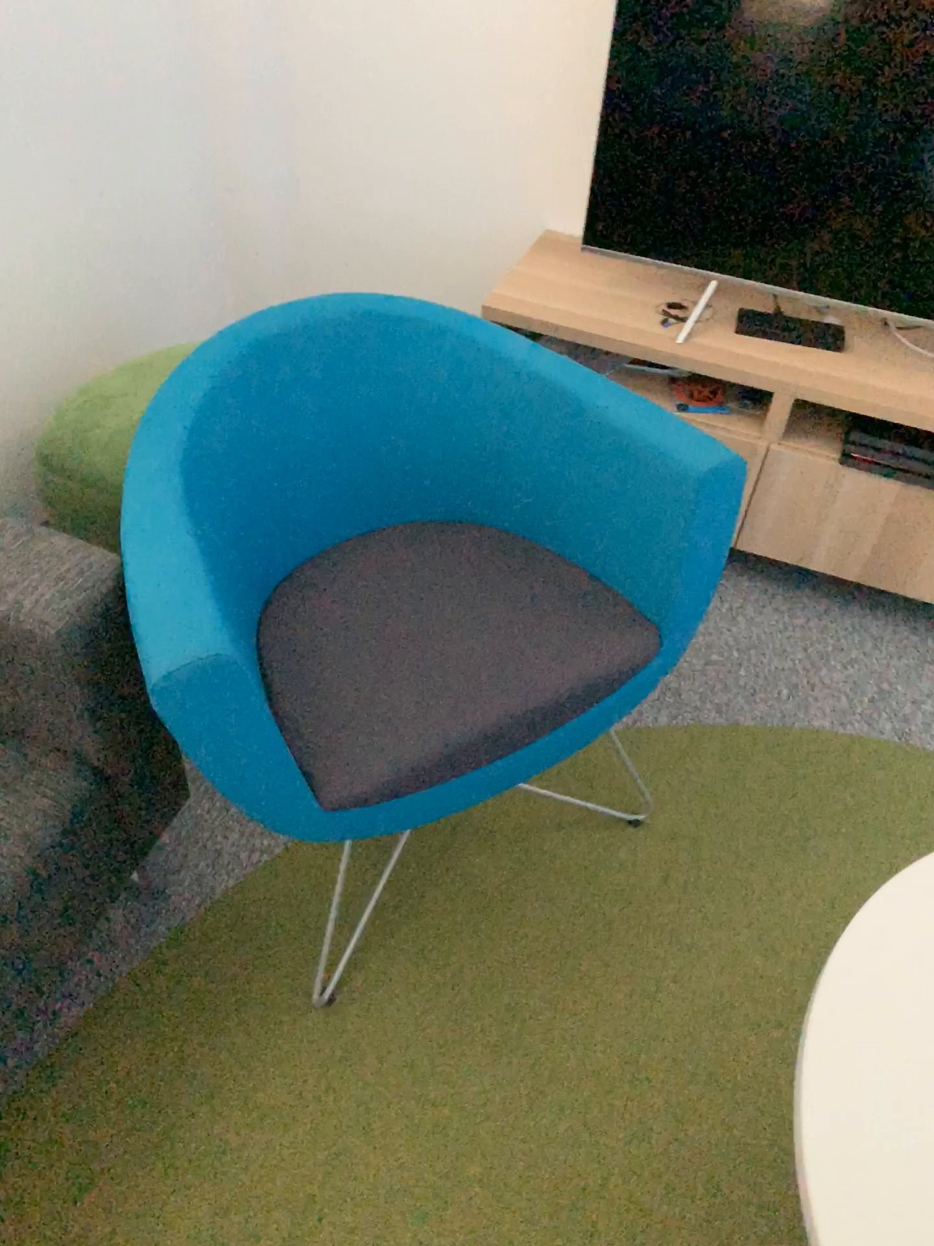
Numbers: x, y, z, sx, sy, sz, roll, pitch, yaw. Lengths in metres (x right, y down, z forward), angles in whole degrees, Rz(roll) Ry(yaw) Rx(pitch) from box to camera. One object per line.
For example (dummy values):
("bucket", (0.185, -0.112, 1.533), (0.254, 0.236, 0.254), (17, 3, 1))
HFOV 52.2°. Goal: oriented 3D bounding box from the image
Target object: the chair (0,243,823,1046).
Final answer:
("chair", (-0.096, -0.010, 1.356), (0.762, 0.687, 0.622), (-23, 51, -25))
